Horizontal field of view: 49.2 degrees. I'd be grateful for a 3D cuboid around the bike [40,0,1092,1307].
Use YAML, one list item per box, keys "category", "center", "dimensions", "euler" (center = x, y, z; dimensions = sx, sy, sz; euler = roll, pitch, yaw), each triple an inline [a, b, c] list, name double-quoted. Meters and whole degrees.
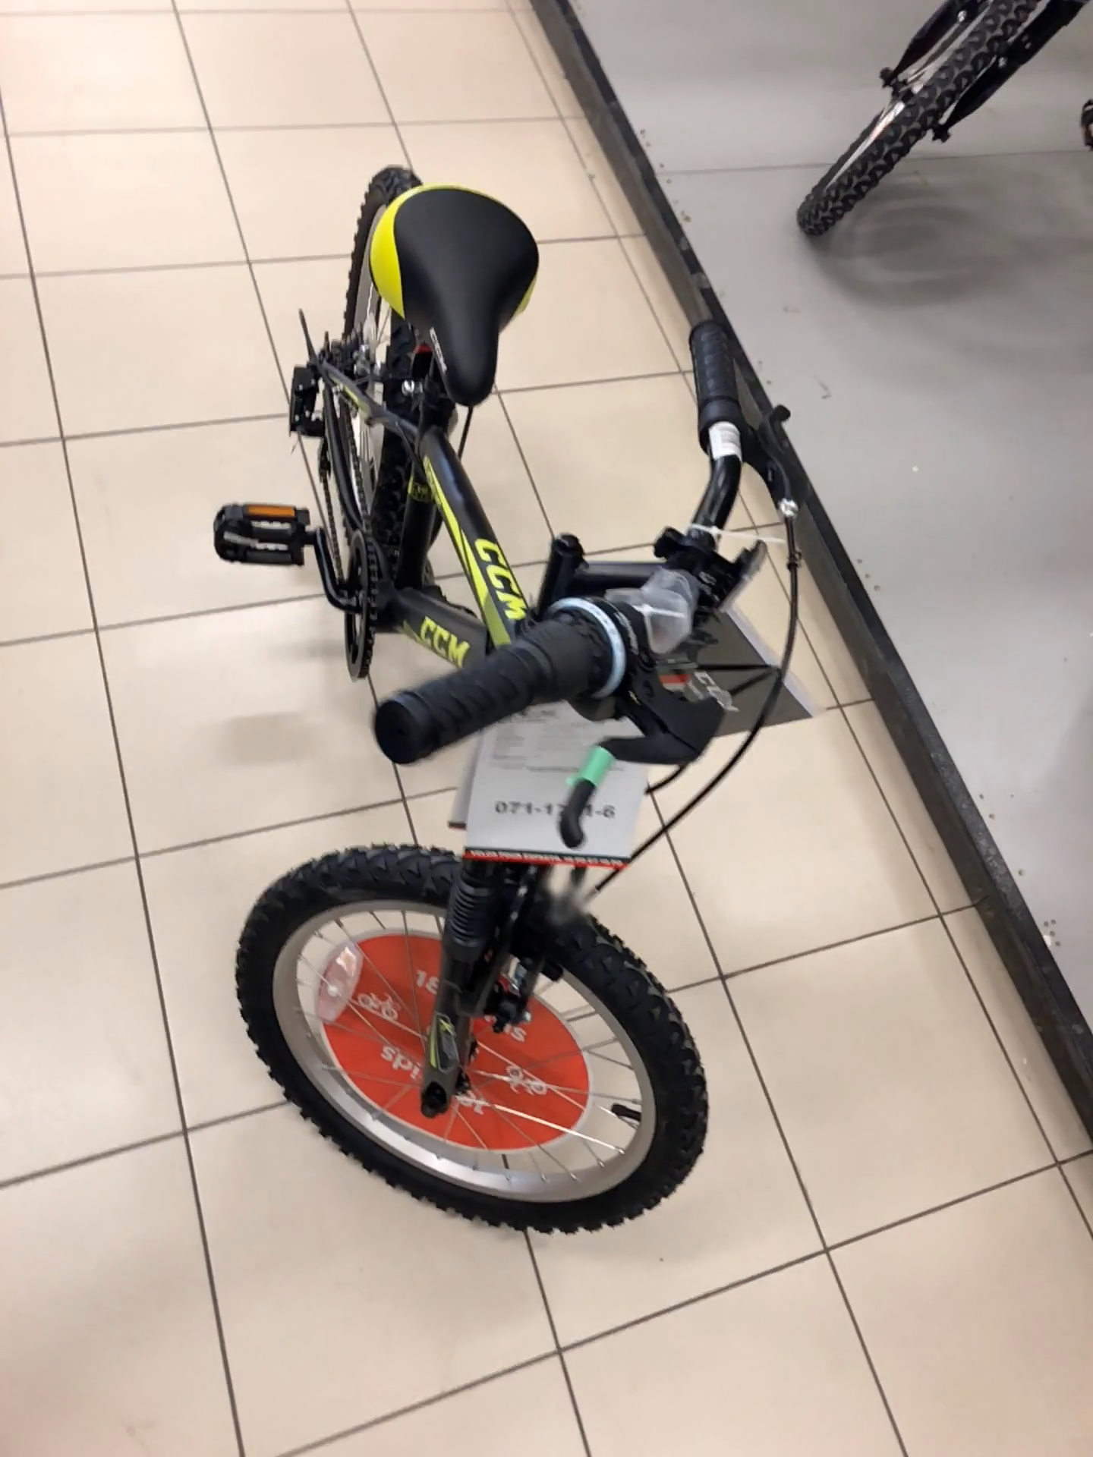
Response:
- category: "bike"
  center: [-0.038, -0.204, 1.103]
  dimensions: [0.549, 0.862, 1.197]
  euler: [-10, 64, -17]
